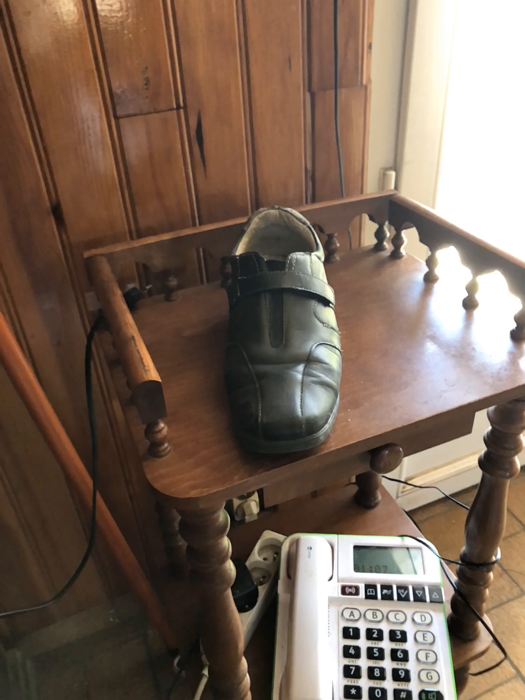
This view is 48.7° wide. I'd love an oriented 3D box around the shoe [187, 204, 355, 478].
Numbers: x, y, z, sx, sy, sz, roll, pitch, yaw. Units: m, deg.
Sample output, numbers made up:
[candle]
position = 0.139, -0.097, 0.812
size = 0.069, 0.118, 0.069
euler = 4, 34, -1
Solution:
[shoe]
position = 0.007, -0.025, 0.475
size = 0.100, 0.099, 0.252
euler = -3, 34, 1
